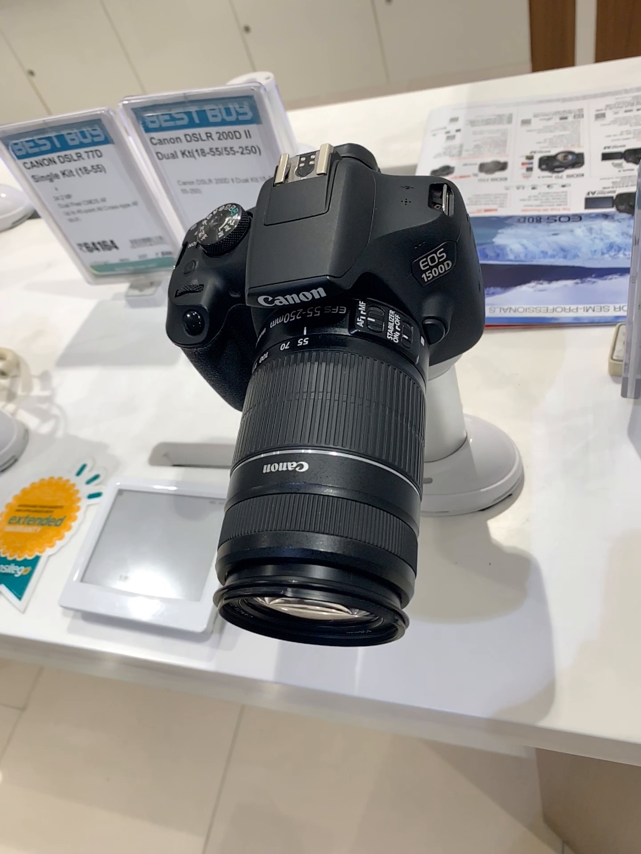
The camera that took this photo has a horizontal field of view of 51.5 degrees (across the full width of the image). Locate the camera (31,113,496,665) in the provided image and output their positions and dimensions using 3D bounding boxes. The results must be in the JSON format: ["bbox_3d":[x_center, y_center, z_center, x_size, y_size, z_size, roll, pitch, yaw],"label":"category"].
[{"bbox_3d":[-0.004,-0.010,0.241,0.117,0.090,0.164,-4,60,17],"label":"camera"}]
